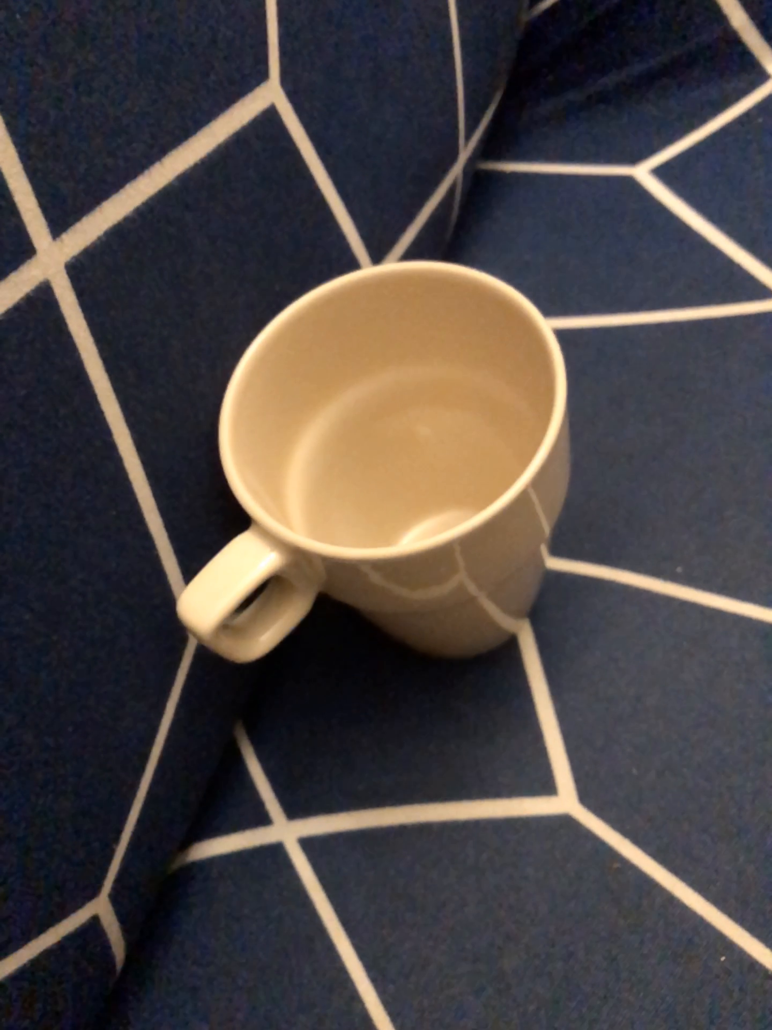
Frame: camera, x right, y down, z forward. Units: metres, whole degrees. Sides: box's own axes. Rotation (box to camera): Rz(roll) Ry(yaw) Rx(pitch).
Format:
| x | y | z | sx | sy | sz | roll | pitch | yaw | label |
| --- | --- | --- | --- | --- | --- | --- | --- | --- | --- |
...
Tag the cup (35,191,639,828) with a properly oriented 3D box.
| x | y | z | sx | sy | sz | roll | pitch | yaw | label |
| --- | --- | --- | --- | --- | --- | --- | --- | --- | --- |
| -0.002 | 0.004 | 0.236 | 0.104 | 0.110 | 0.090 | -45 | 59 | -11 | cup |
